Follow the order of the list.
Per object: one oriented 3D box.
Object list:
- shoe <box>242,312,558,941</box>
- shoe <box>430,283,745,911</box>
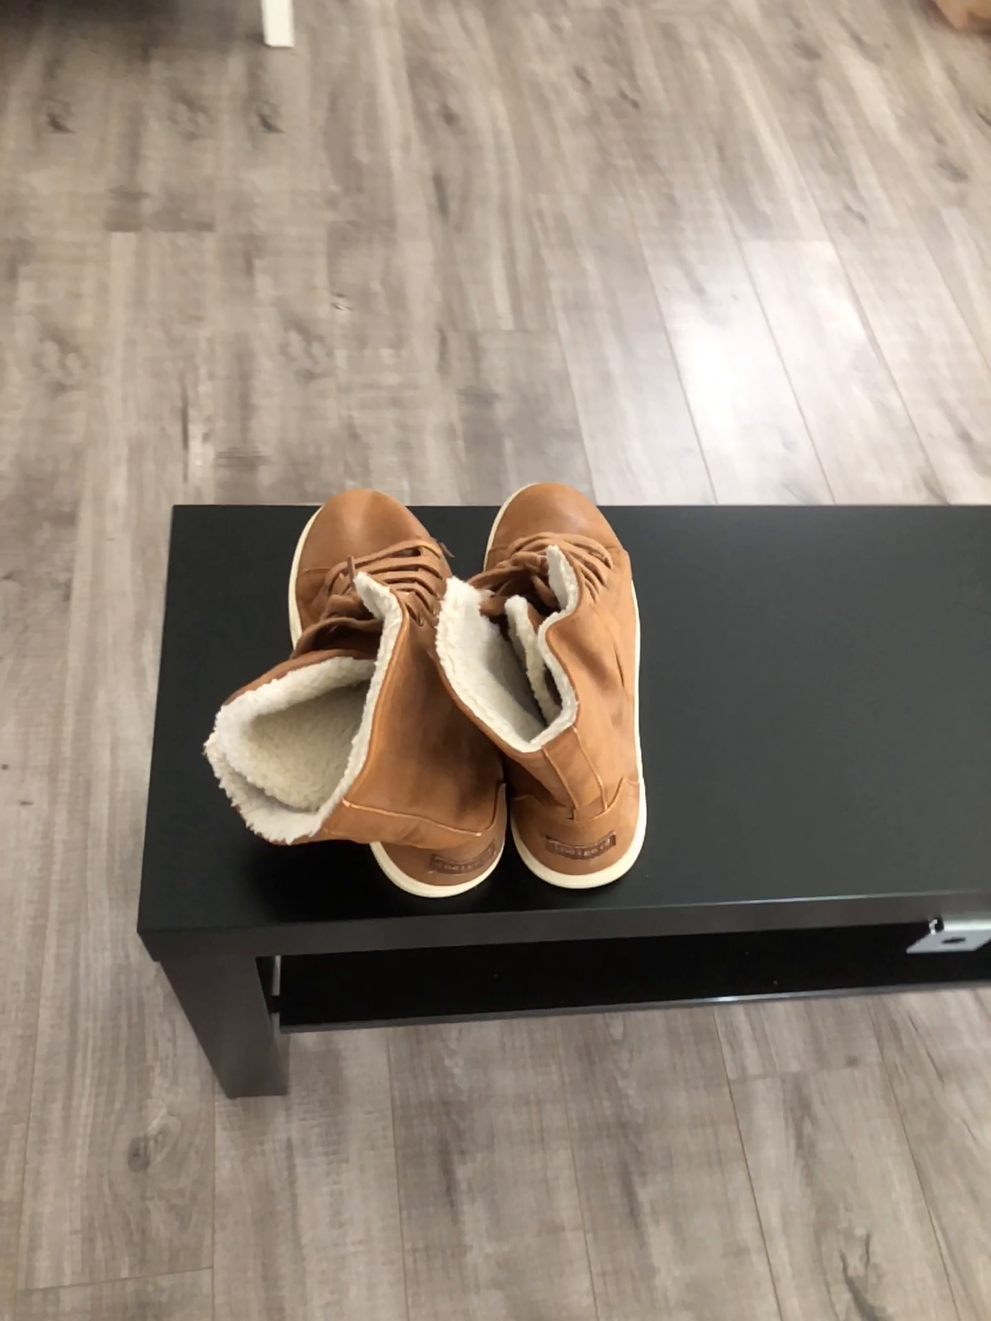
[{"bbox_3d":[-0.056,-0.020,0.519,0.110,0.140,0.260,-4,59,-9],"label":"shoe"},{"bbox_3d":[0.036,-0.031,0.534,0.110,0.150,0.260,5,58,-4],"label":"shoe"}]
